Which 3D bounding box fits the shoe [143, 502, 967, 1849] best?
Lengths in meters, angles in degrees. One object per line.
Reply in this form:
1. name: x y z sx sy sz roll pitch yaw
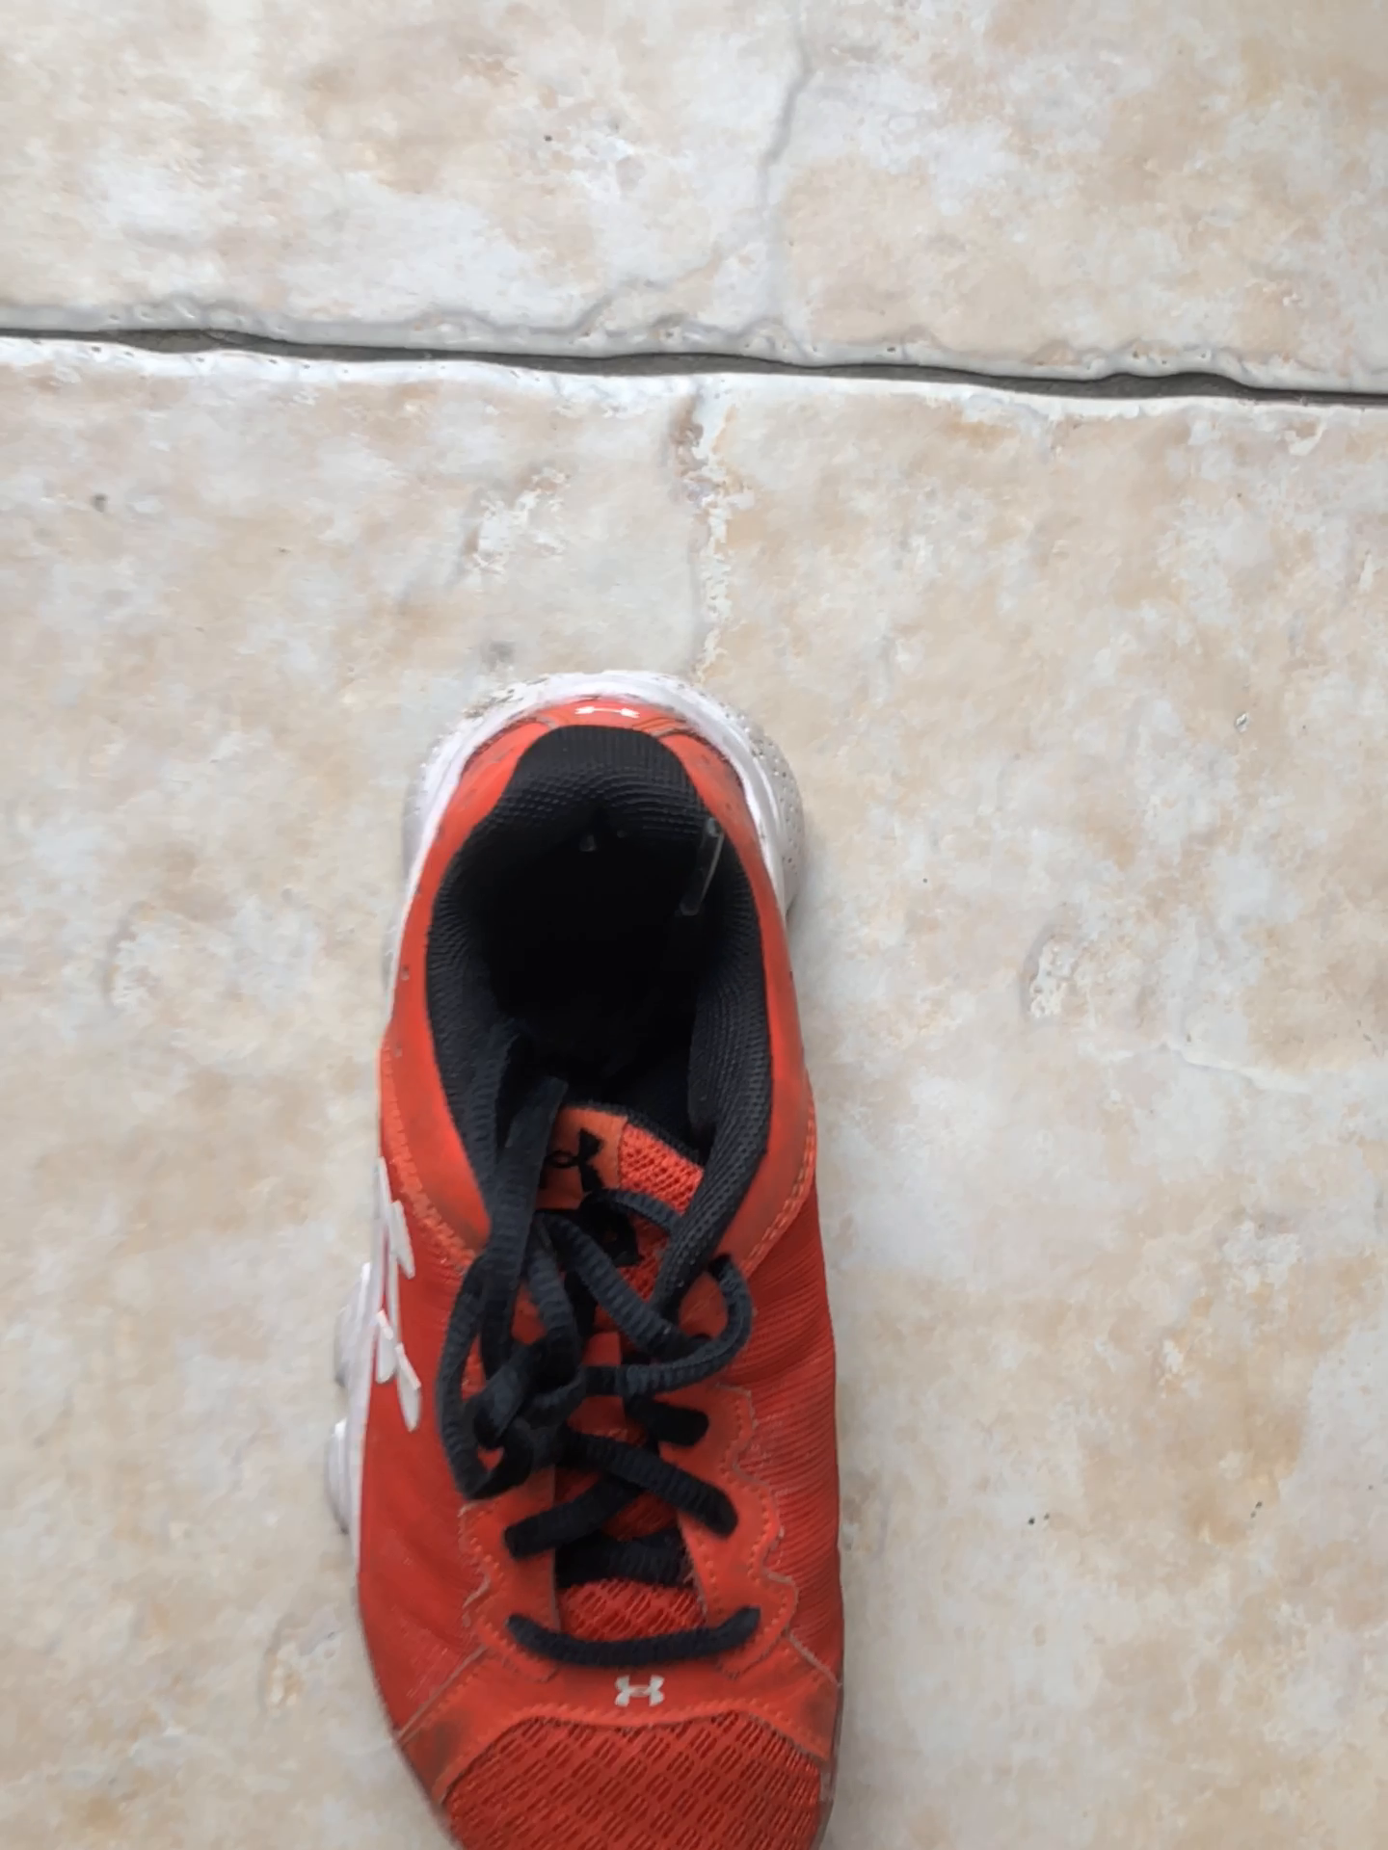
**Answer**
1. shoe: -0.019 0.068 0.240 0.100 0.100 0.240 0 89 -2
